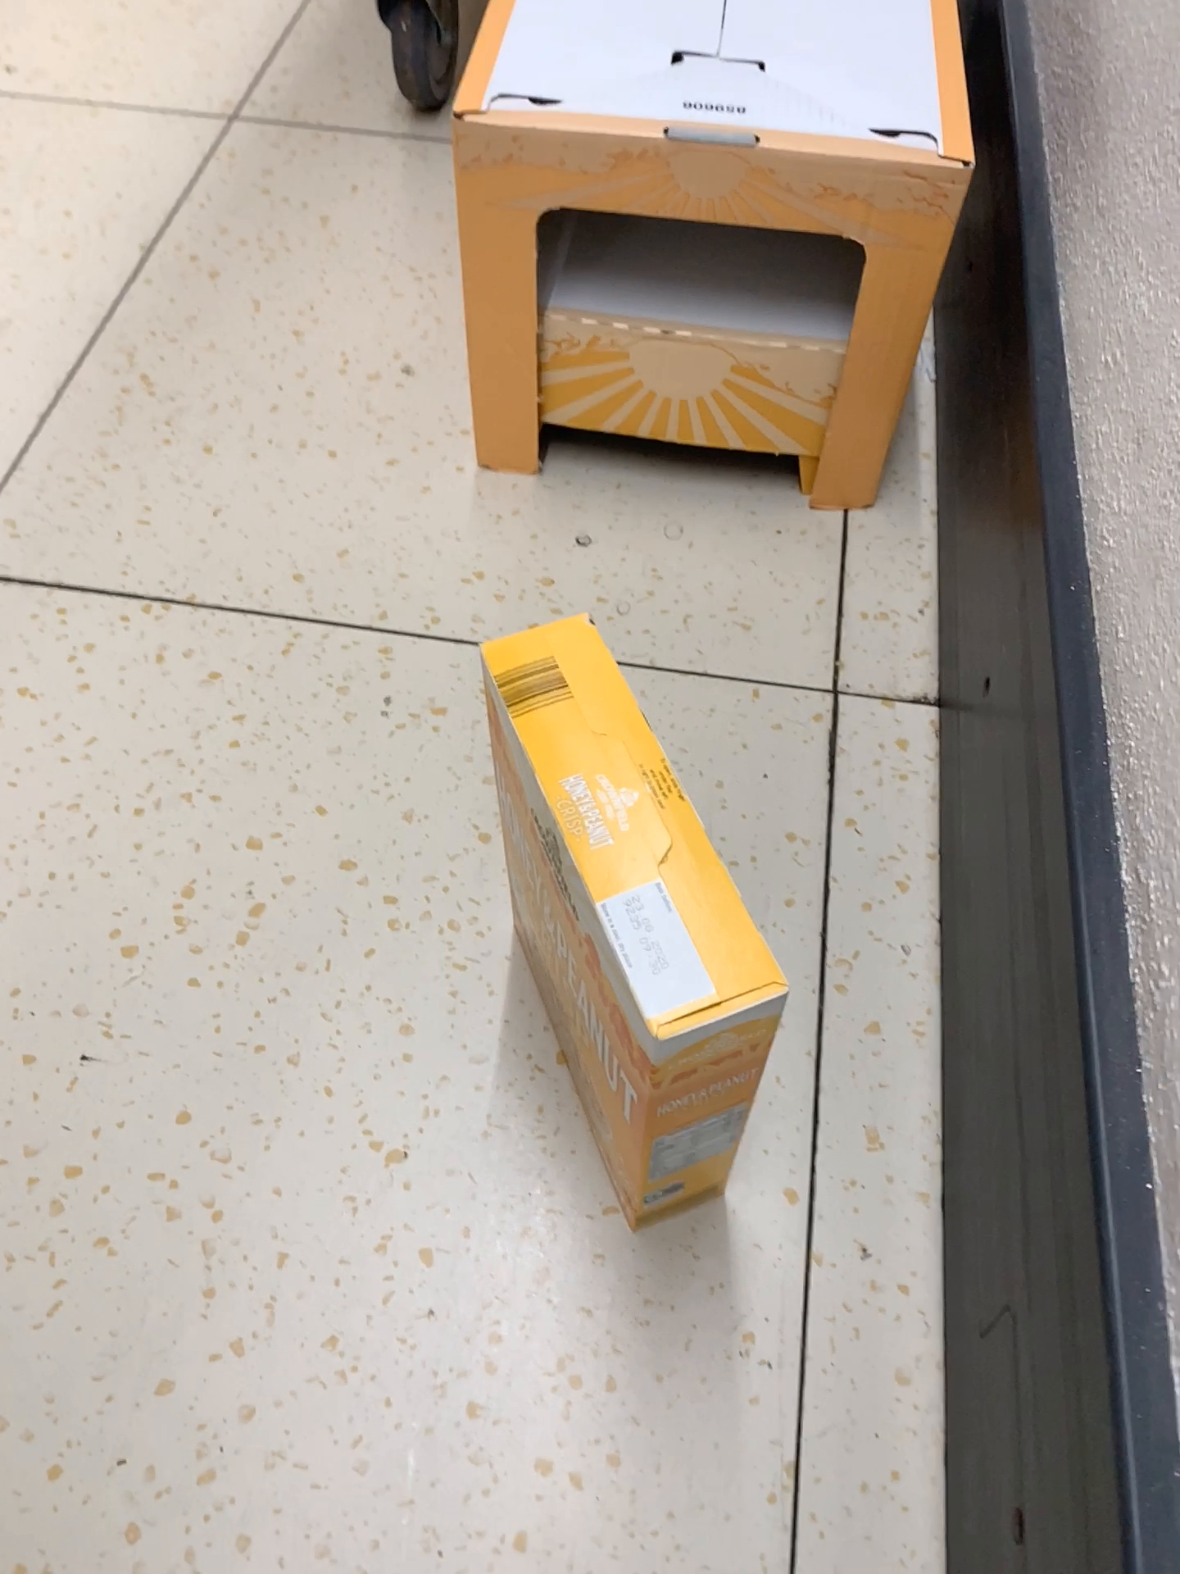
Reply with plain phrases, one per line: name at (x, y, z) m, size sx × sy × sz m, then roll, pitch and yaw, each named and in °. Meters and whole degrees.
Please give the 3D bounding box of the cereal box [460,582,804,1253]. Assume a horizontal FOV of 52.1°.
cereal box at (0.009, 0.074, 0.538) m, size 0.050 × 0.268 × 0.191 m, roll -19°, pitch 58°, yaw -12°
